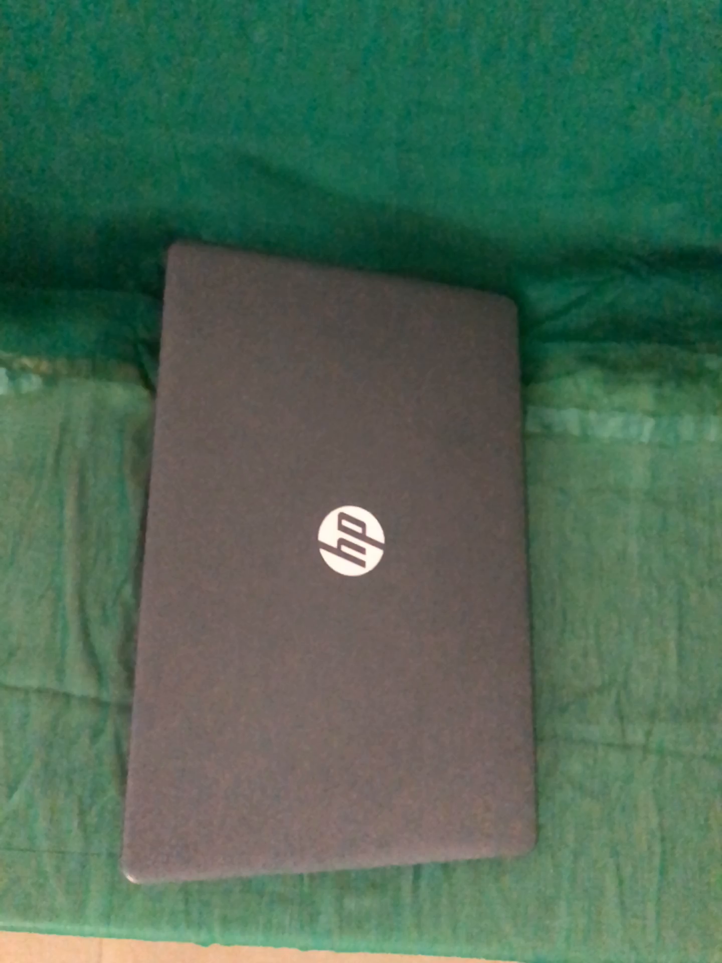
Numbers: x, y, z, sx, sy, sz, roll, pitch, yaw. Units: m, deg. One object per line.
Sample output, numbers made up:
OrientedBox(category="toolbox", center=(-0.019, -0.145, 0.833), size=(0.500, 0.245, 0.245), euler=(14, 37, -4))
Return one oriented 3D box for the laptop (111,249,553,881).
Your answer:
OrientedBox(category="laptop", center=(-0.012, 0.041, 0.497), size=(0.231, 0.067, 0.359), euler=(2, 75, -3))
